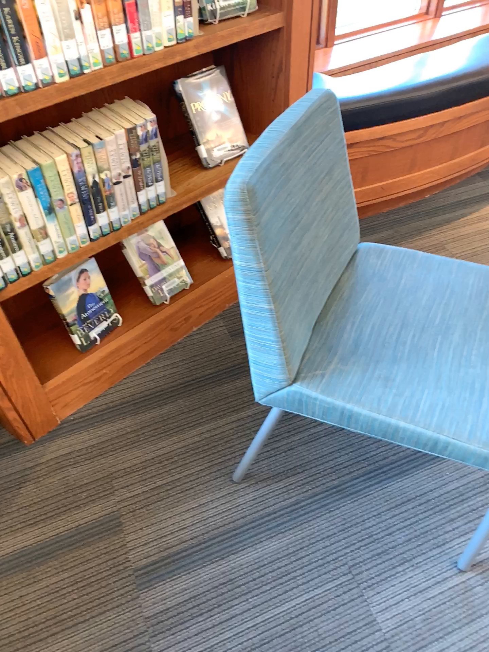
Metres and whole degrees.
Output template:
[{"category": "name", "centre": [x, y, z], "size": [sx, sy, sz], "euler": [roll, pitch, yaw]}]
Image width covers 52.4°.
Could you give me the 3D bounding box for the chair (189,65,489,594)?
[{"category": "chair", "centre": [0.319, 0.017, 1.016], "size": [0.590, 0.787, 0.552], "euler": [17, 49, 18]}]
